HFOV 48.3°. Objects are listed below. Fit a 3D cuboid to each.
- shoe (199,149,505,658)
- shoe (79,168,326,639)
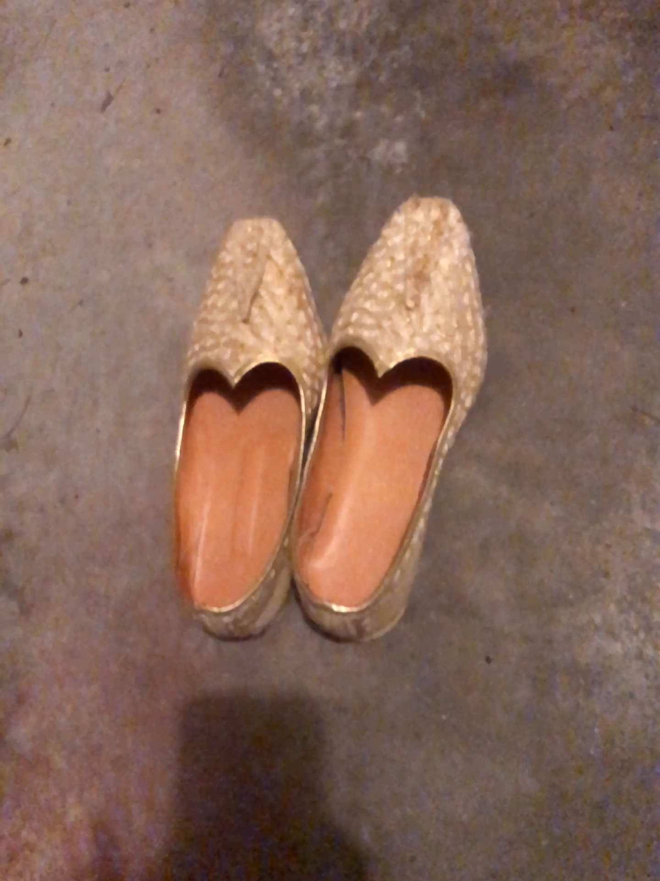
[{"bbox_3d":[0.022,-0.025,0.432,0.104,0.073,0.275,10,78,18],"label":"shoe"},{"bbox_3d":[-0.070,-0.022,0.459,0.104,0.073,0.275,-1,75,16],"label":"shoe"}]
